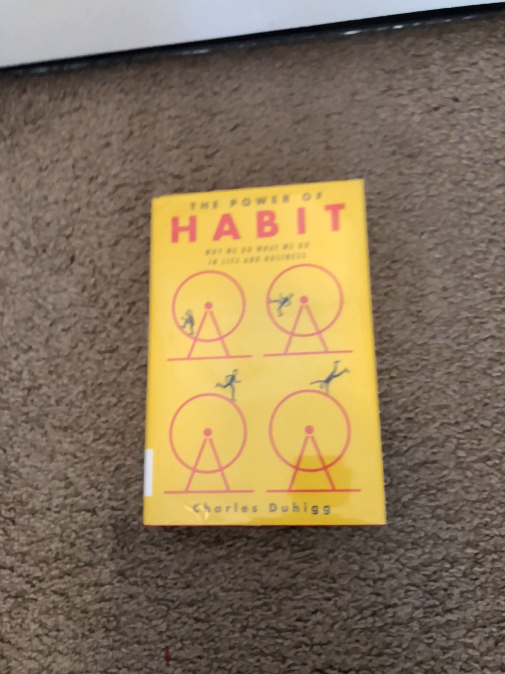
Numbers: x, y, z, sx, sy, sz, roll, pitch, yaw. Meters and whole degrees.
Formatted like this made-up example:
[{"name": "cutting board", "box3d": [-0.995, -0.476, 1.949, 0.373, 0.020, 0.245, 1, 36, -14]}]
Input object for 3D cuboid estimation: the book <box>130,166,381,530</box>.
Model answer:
[{"name": "book", "box3d": [0.001, 0.006, 0.413, 0.164, 0.040, 0.251, -3, 76, 9]}]
